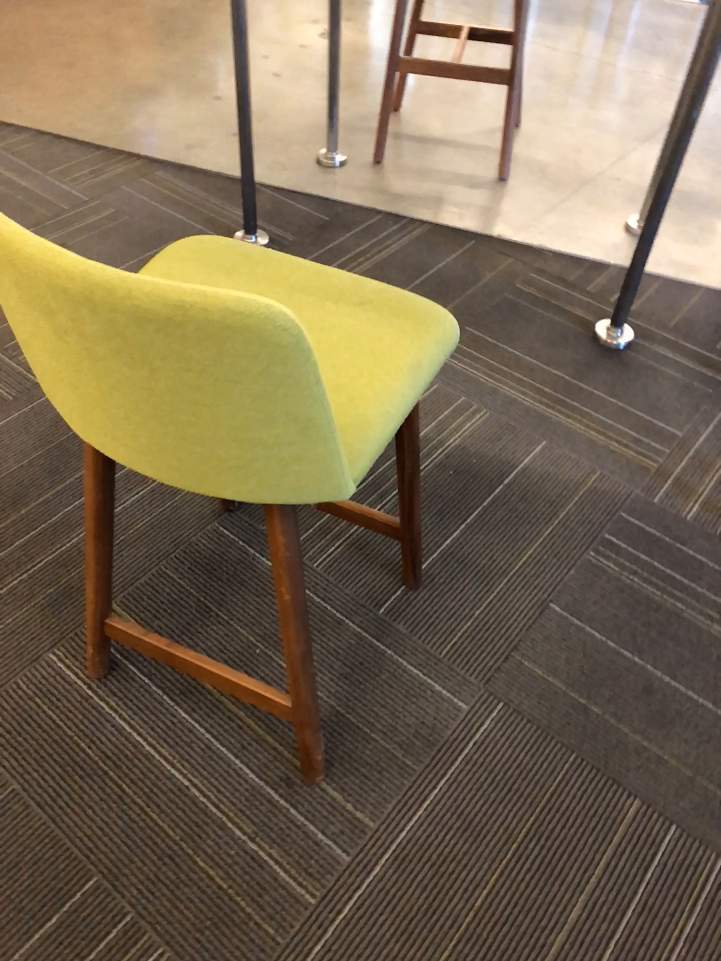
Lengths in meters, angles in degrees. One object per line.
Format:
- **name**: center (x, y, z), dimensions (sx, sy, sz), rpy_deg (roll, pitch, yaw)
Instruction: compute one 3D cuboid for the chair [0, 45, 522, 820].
- **chair**: center (-0.151, -0.024, 1.127), dimensions (0.460, 0.876, 0.512), rpy_deg (20, 48, 15)
